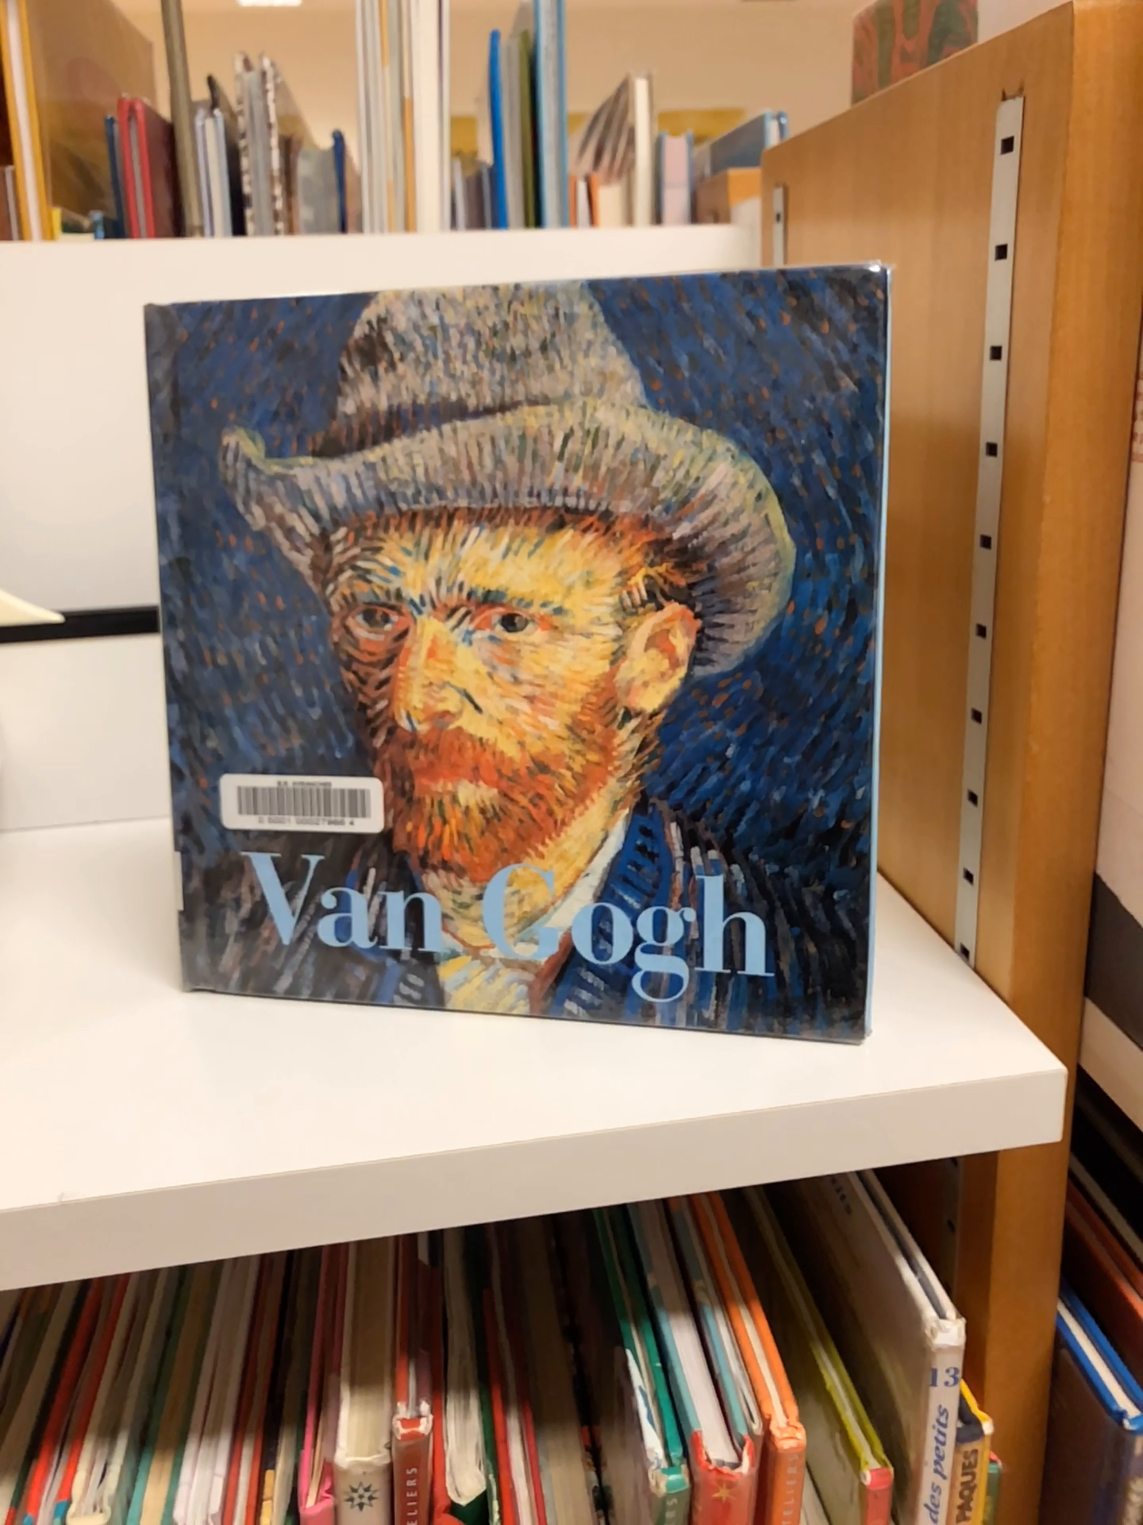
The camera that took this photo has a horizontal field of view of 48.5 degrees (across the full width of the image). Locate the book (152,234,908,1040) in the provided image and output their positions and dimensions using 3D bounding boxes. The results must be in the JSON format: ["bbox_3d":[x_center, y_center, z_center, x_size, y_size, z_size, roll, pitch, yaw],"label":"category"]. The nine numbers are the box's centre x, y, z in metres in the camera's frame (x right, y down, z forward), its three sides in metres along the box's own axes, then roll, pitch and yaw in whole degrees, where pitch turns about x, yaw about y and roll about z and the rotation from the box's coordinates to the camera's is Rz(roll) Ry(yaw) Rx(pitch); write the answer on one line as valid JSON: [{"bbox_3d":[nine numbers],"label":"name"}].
[{"bbox_3d":[-0.015,-0.030,0.343,0.200,0.198,0.013,1,8,14],"label":"book"}]
